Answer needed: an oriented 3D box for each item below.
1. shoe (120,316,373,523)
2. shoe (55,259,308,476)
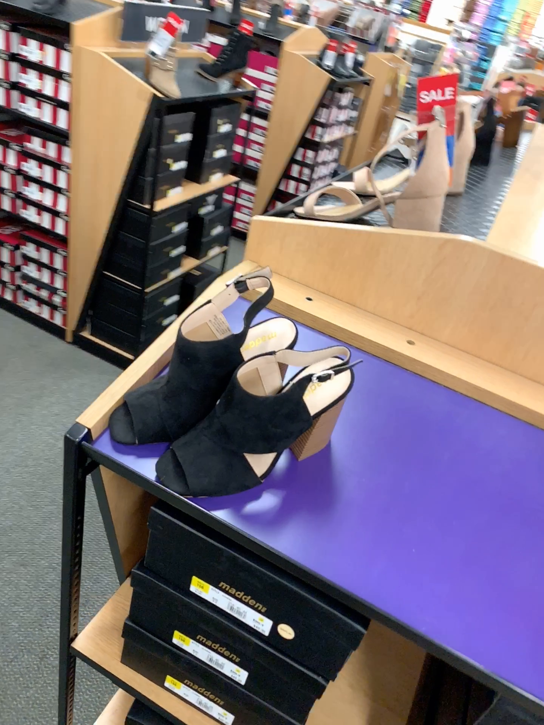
[{"bbox_3d":[-0.020,0.052,0.548,0.220,0.109,0.080,-20,45,-18],"label":"shoe"},{"bbox_3d":[-0.086,0.005,0.581,0.220,0.139,0.080,-22,43,-10],"label":"shoe"}]
